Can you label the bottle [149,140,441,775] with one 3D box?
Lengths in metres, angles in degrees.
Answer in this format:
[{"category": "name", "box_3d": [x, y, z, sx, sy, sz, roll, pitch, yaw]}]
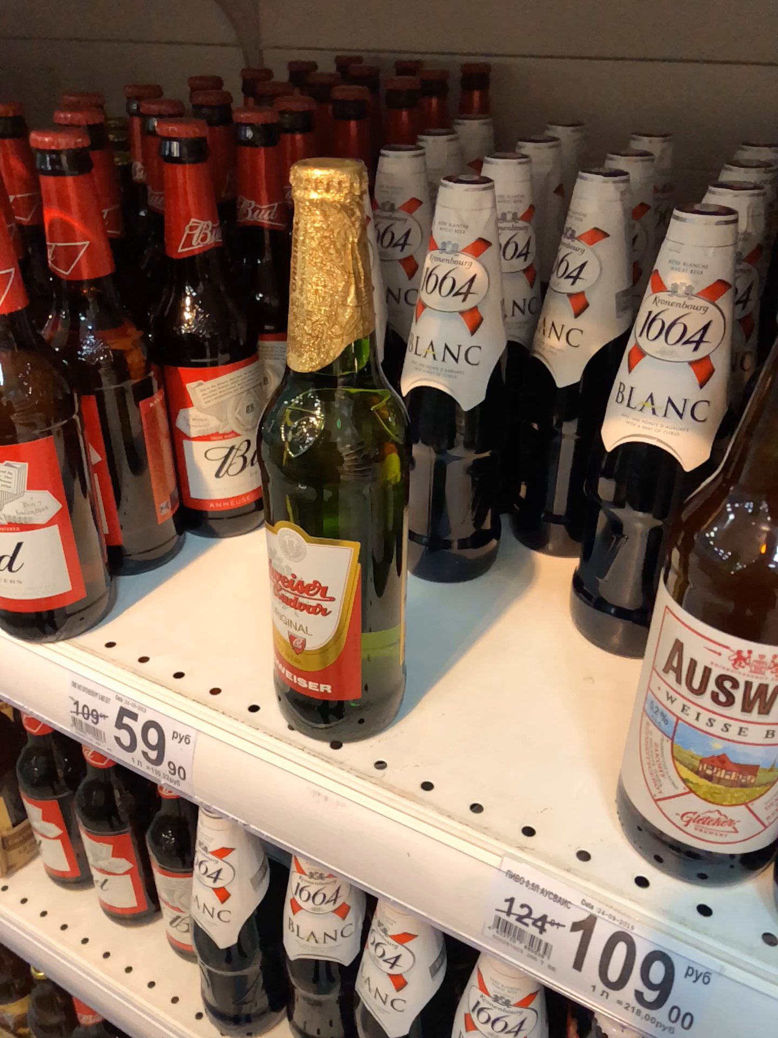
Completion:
[{"category": "bottle", "box_3d": [-0.033, -0.019, 0.374, 0.070, 0.254, 0.080, -26, 40, -36]}]
